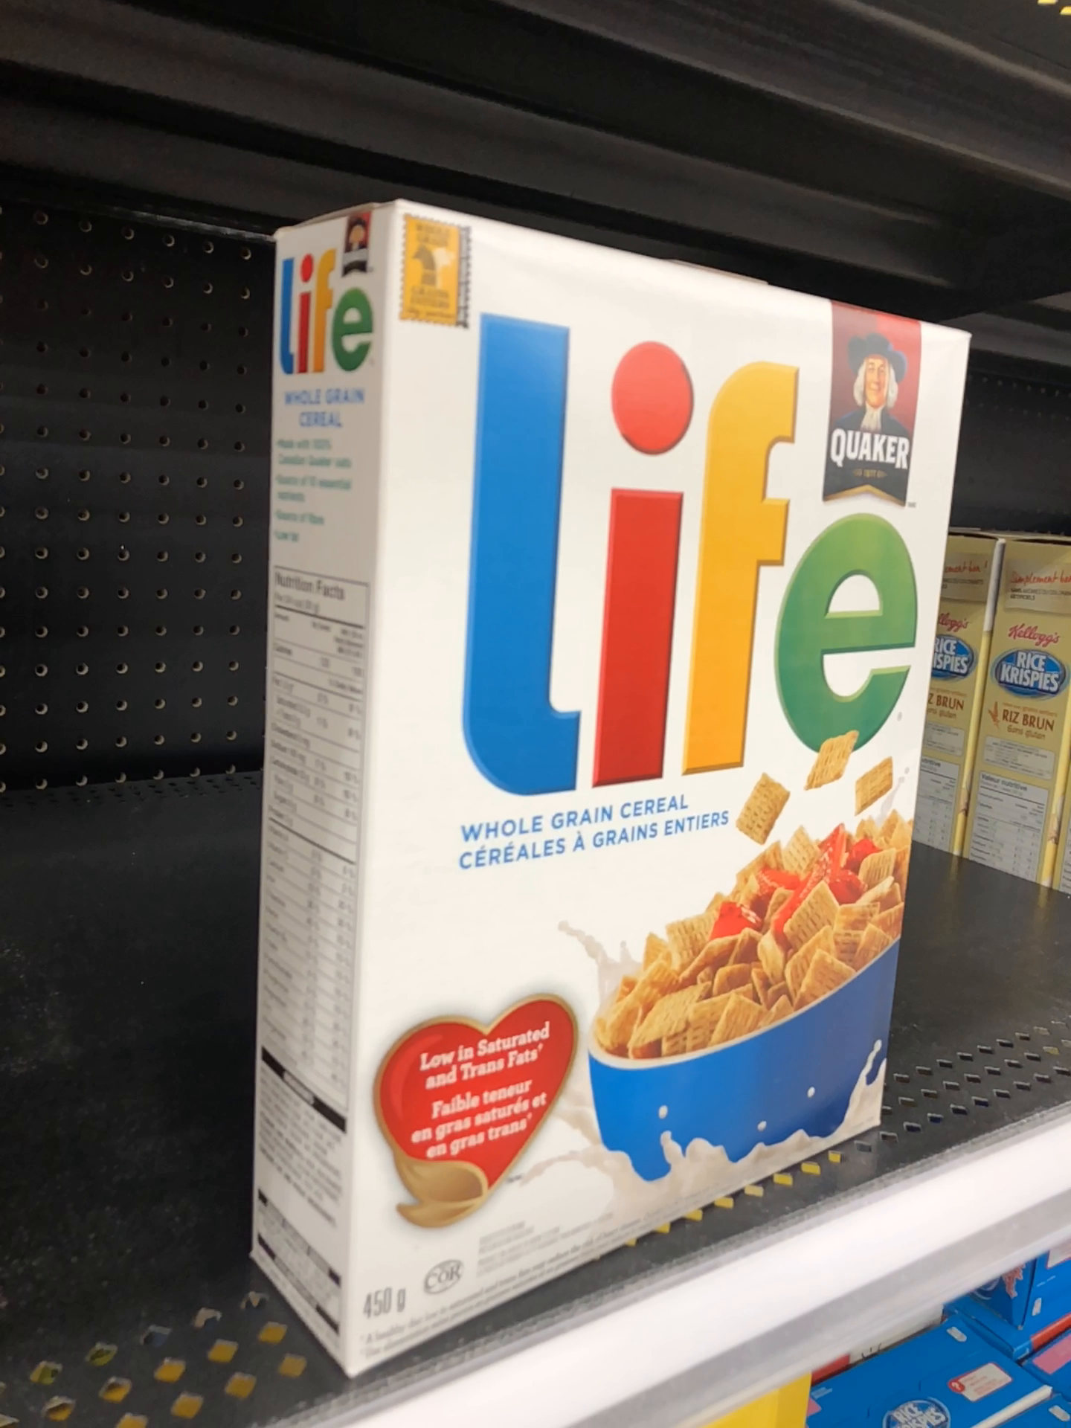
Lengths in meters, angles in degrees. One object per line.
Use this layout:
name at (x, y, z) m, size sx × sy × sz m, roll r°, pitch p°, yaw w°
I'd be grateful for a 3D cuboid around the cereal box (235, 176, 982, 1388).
cereal box at (0.026, 0.013, 0.330) m, size 0.200 × 0.259 × 0.060 m, roll -5°, pitch 14°, yaw -39°
